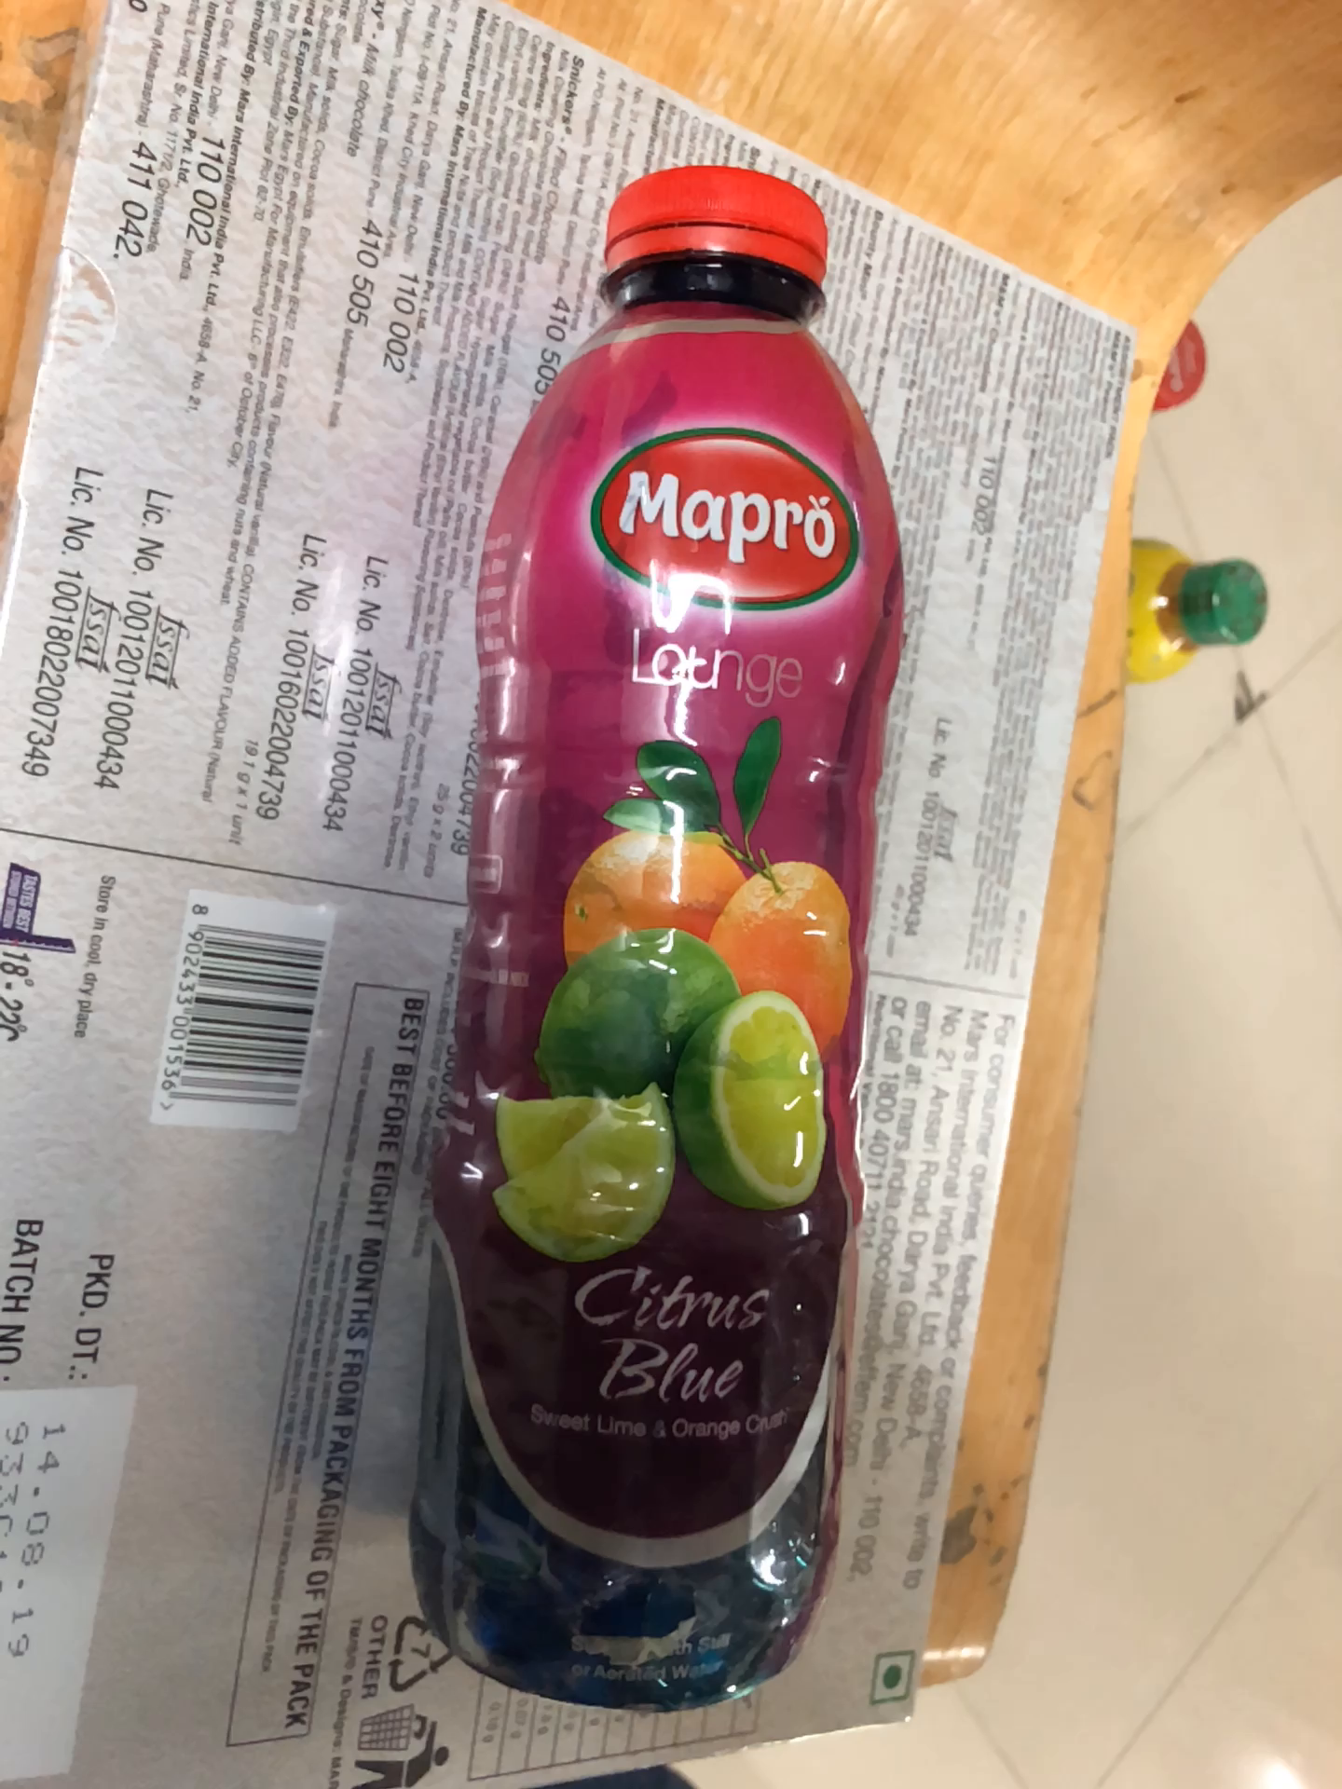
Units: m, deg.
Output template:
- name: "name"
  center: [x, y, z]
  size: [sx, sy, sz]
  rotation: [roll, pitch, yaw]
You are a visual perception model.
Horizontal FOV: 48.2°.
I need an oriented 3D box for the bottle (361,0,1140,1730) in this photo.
- name: "bottle"
  center: [0.006, -0.007, 0.265]
  size: [0.090, 0.080, 0.270]
  rotation: [6, 94, -8]
